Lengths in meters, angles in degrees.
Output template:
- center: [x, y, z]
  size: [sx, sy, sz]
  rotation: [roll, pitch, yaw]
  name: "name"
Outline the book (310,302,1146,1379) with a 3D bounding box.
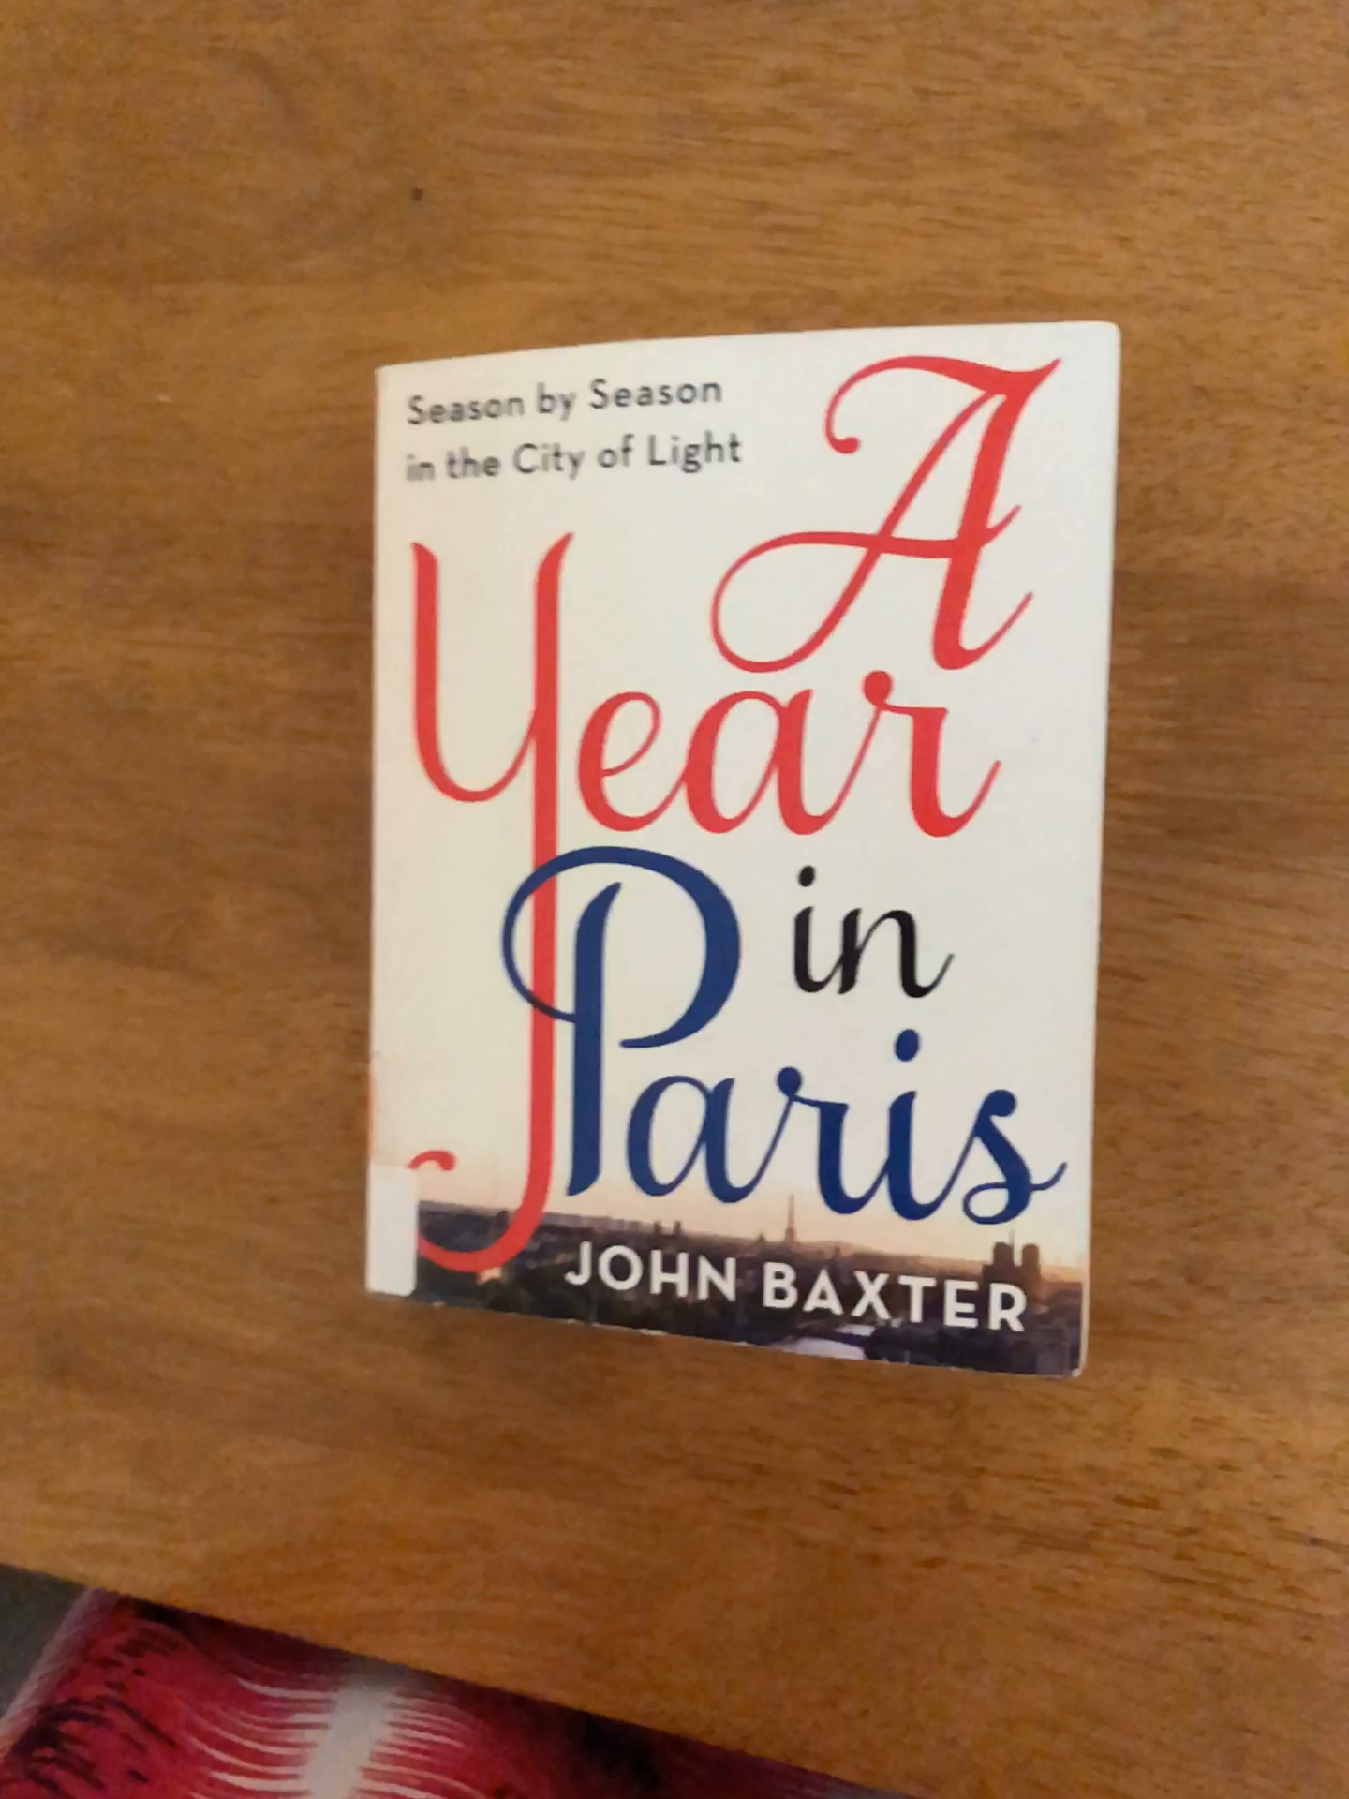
- center: [0.008, -0.012, 0.292]
  size: [0.150, 0.040, 0.182]
  rotation: [2, 93, 14]
  name: "book"
